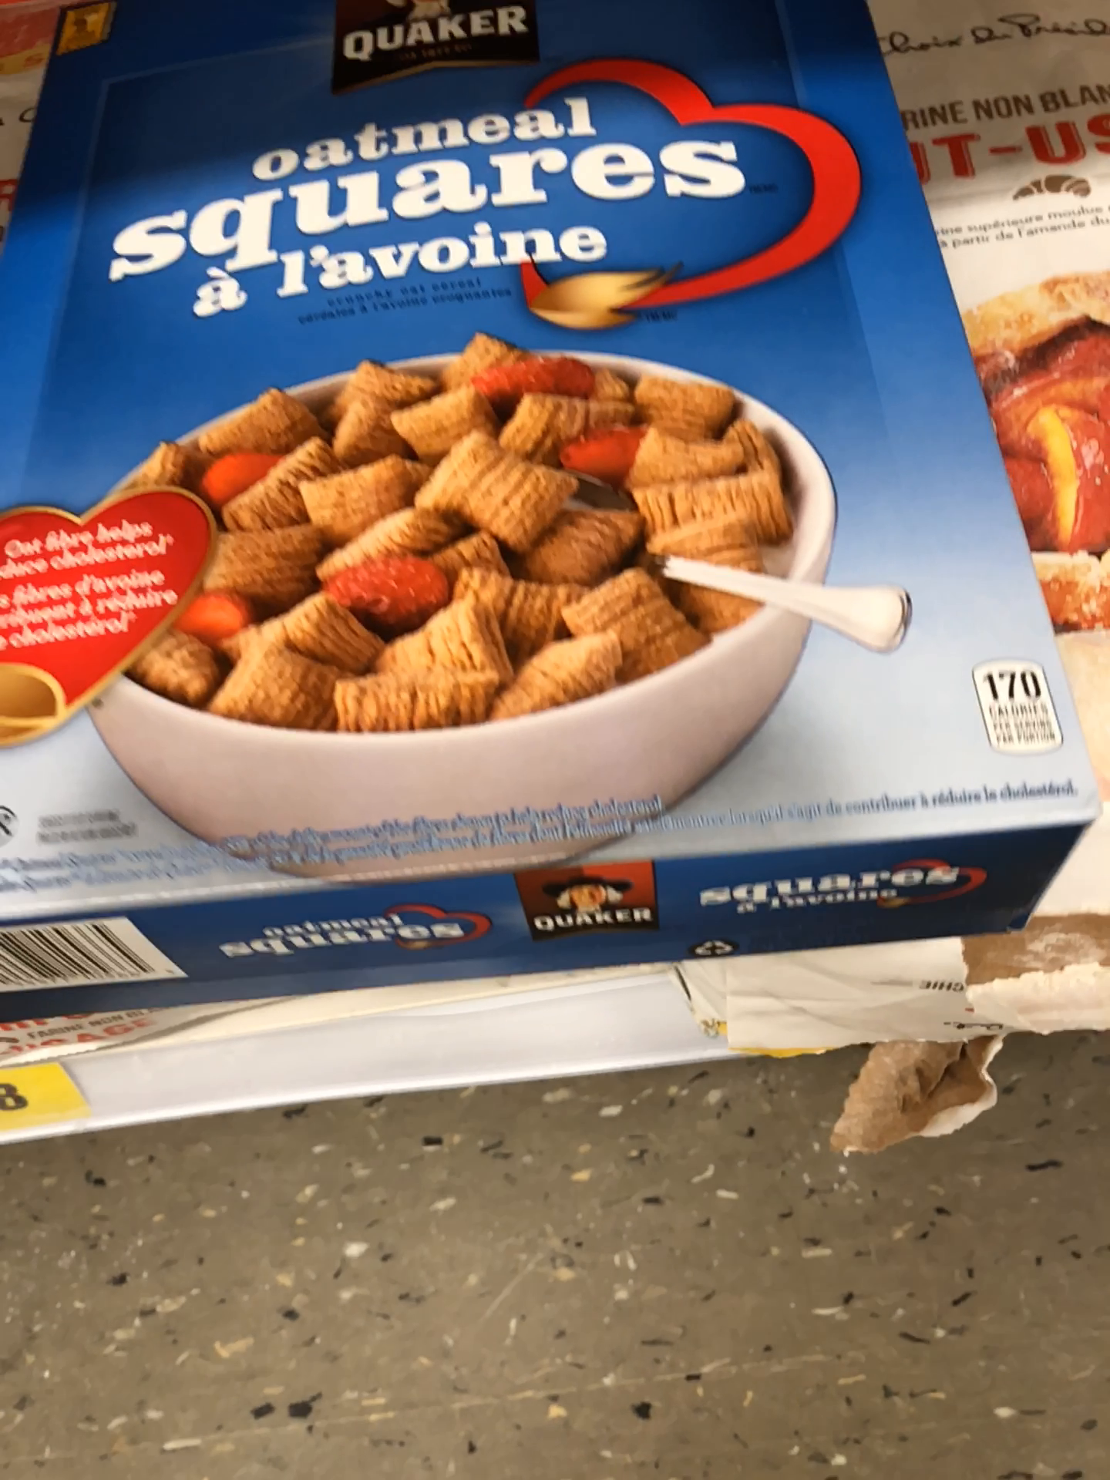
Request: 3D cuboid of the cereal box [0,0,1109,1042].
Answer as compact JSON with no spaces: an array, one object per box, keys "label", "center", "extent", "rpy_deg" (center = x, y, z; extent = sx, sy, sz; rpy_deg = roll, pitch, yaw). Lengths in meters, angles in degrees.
[{"label":"cereal box","center":[-0.012,-0.085,0.291],"extent":[0.210,0.060,0.281],"rpy_deg":[-6,60,4]}]
